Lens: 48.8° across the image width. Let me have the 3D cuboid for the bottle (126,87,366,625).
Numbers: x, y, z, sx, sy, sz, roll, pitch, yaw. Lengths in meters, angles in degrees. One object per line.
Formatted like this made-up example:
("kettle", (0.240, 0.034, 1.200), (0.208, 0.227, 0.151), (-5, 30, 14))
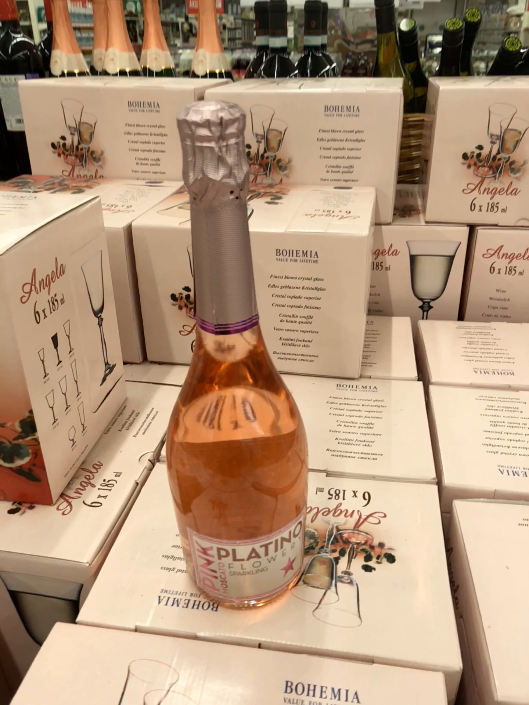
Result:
("bottle", (-0.013, 0.012, 0.355), (0.100, 0.308, 0.101), (-1, 28, 0))
